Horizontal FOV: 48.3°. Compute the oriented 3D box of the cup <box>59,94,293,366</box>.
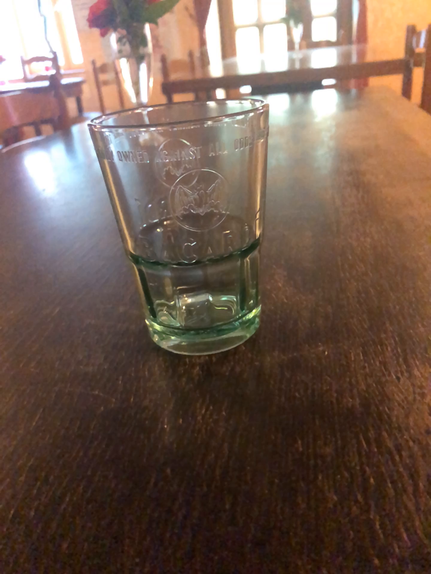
[{"bbox_3d":[-0.009,-0.032,0.237,0.083,0.103,0.089,-6,26,3],"label":"cup"}]
